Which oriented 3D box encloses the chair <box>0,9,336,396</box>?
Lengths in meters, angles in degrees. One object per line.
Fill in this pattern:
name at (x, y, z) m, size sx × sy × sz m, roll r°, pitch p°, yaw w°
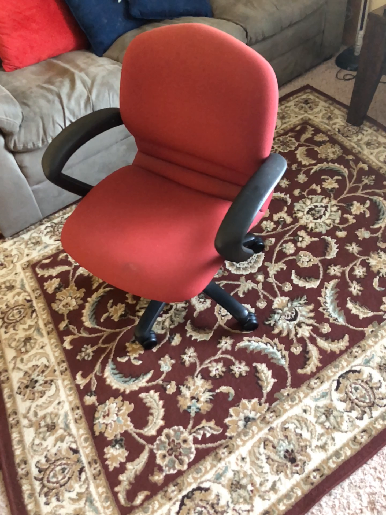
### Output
chair at (-0.078, -0.165, 1.229) m, size 0.651 × 0.729 × 0.620 m, roll 25°, pitch 58°, yaw 26°
